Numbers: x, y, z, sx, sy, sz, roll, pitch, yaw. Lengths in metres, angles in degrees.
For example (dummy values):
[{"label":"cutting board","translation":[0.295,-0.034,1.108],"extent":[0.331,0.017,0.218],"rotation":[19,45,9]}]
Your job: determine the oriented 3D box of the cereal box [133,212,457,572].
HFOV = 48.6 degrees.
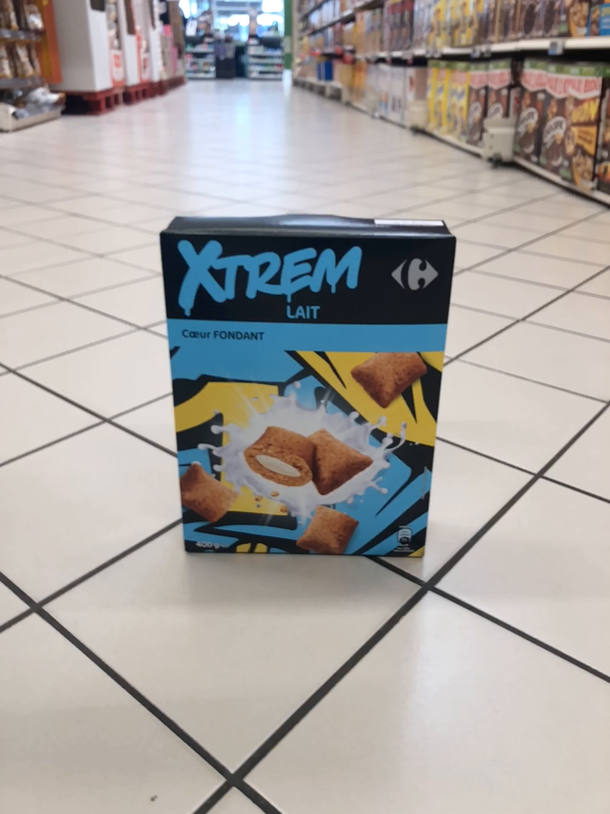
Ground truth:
[{"label":"cereal box","translation":[-0.006,-0.004,0.500],"extent":[0.200,0.259,0.060],"rotation":[1,26,2]}]
